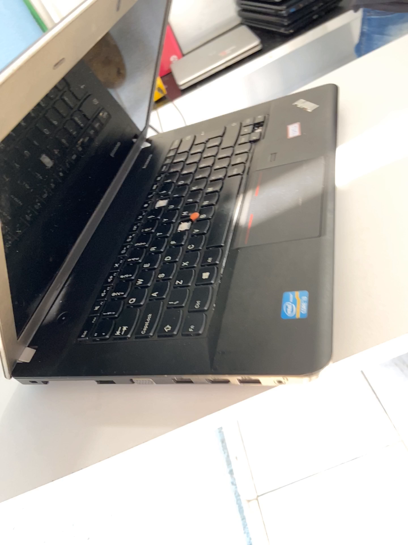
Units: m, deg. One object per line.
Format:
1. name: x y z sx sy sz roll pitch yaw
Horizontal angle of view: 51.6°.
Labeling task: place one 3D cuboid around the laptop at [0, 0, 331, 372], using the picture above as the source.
1. laptop: -0.042 -0.115 0.323 0.230 0.165 0.332 -8 44 26
